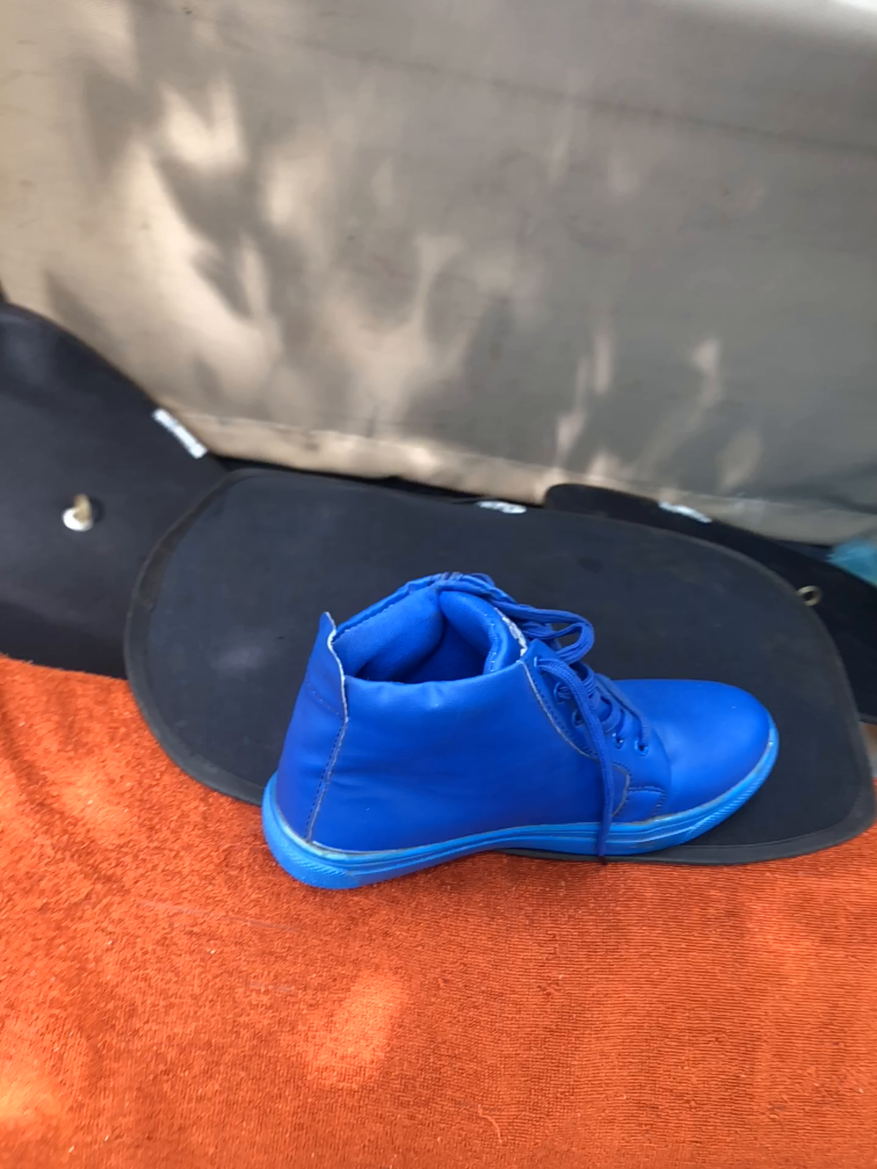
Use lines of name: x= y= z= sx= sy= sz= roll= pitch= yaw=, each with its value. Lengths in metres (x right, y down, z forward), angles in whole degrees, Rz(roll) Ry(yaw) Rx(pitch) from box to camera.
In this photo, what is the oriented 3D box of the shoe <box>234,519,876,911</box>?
shoe: x=0.055 y=0.057 z=0.504 sx=0.301 sy=0.119 sz=0.130 roll=-2 pitch=41 yaw=-18
